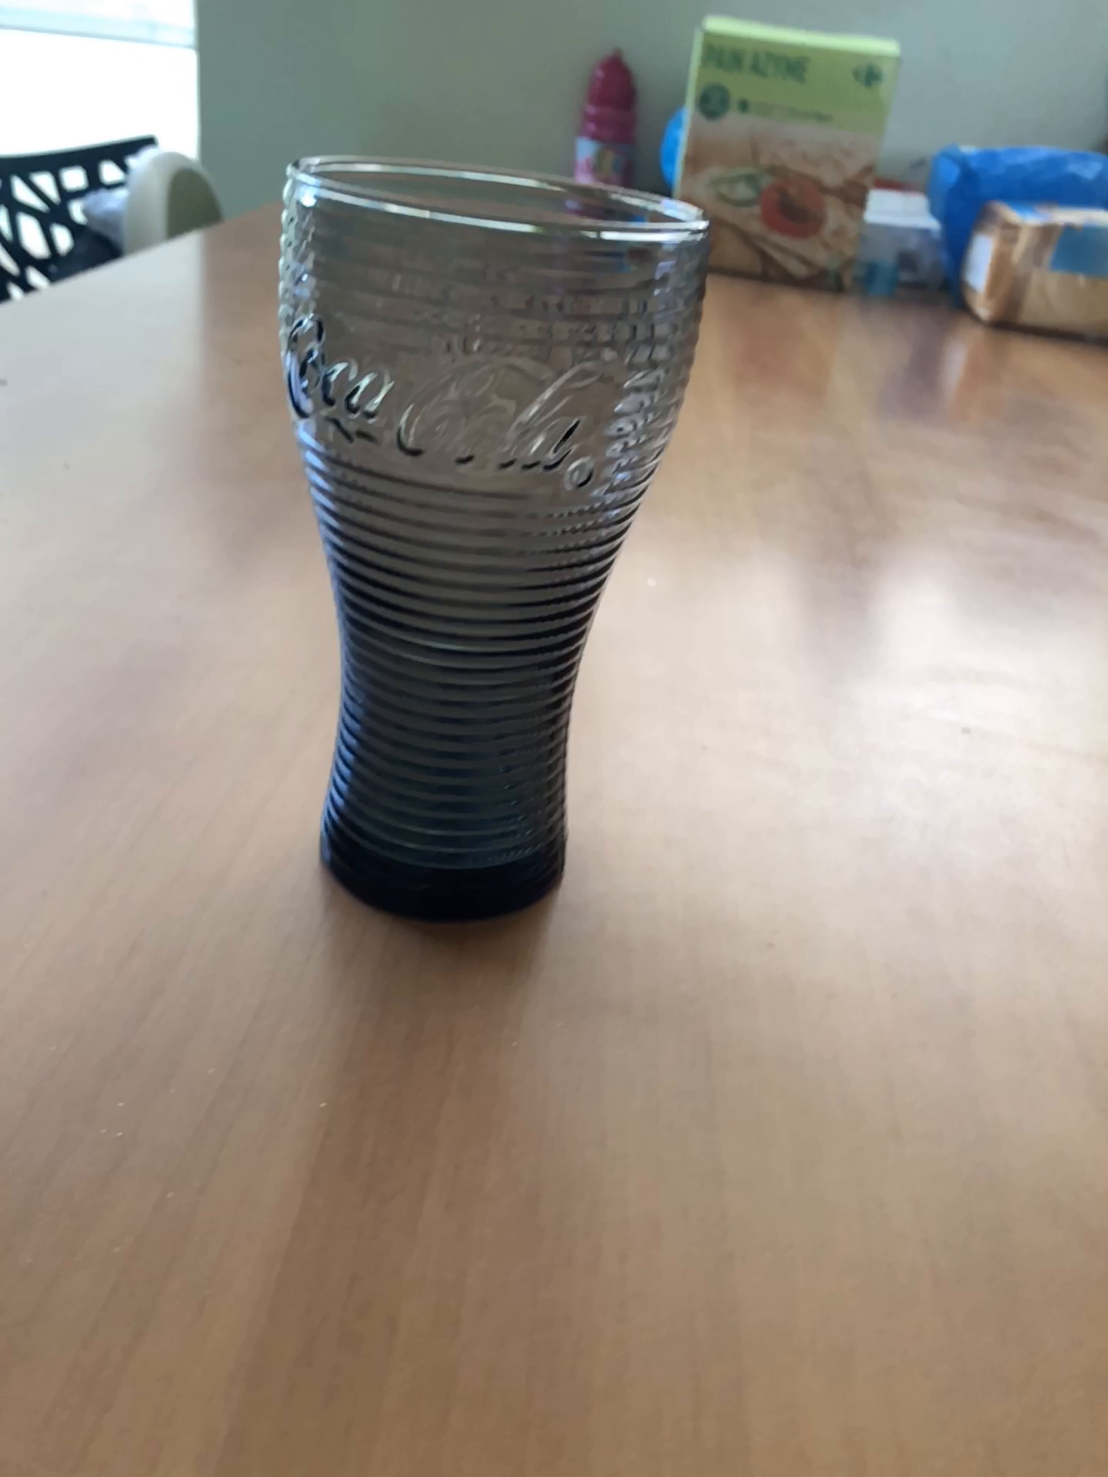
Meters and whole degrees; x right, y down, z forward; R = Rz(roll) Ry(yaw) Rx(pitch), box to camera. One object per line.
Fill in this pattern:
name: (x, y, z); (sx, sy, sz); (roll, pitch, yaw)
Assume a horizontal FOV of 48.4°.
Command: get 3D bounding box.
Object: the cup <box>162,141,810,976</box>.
cup: (-0.018, -0.040, 0.245); (0.080, 0.129, 0.080); (6, 29, -3)
